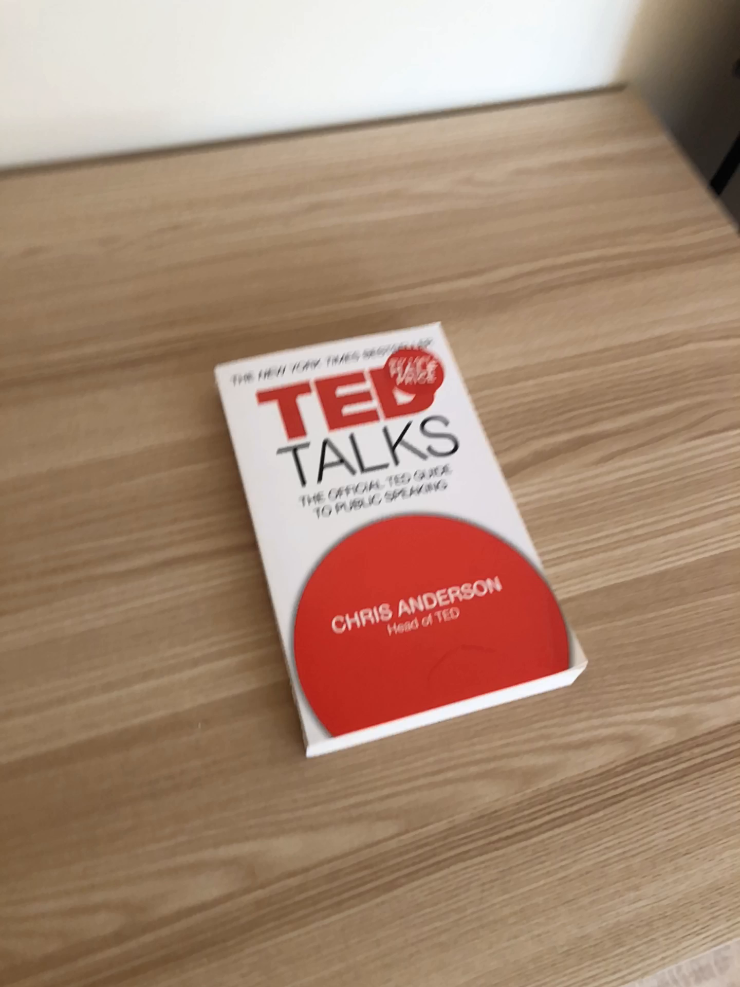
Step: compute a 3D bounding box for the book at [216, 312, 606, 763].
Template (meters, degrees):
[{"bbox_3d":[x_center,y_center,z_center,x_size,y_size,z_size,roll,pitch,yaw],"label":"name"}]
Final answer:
[{"bbox_3d":[0.011,0.009,0.426,0.138,0.030,0.221,-12,62,-12],"label":"book"}]
